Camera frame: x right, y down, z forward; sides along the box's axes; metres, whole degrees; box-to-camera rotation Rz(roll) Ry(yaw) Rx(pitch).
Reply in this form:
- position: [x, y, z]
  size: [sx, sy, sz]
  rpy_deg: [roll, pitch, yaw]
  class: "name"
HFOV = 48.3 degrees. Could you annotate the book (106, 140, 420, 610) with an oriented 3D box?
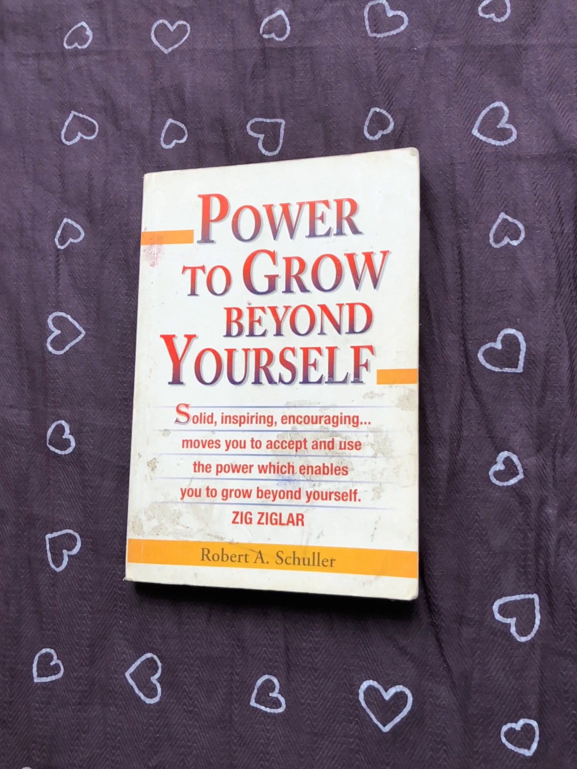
- position: [-0.007, -0.006, 0.268]
  size: [0.120, 0.030, 0.180]
  rpy_deg: [1, 83, 9]
  class: "book"
